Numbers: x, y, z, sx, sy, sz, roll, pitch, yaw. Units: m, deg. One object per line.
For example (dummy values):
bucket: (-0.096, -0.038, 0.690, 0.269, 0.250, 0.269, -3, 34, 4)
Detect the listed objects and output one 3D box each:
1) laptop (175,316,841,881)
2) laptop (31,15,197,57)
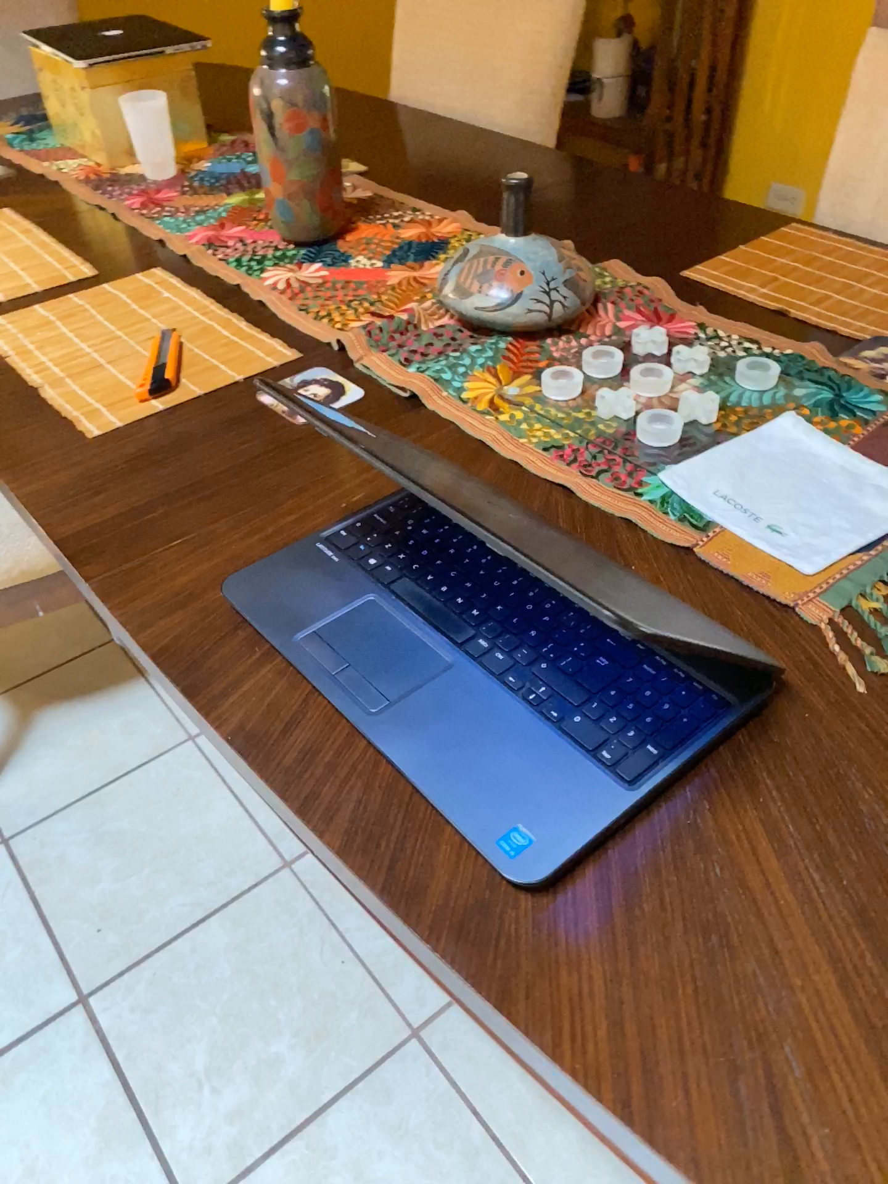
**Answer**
laptop: (0.027, -0.030, 0.641, 0.249, 0.159, 0.357, -30, 48, -28)
laptop: (-0.593, -0.997, 1.620, 0.201, 0.001, 0.293, -27, 48, -27)
